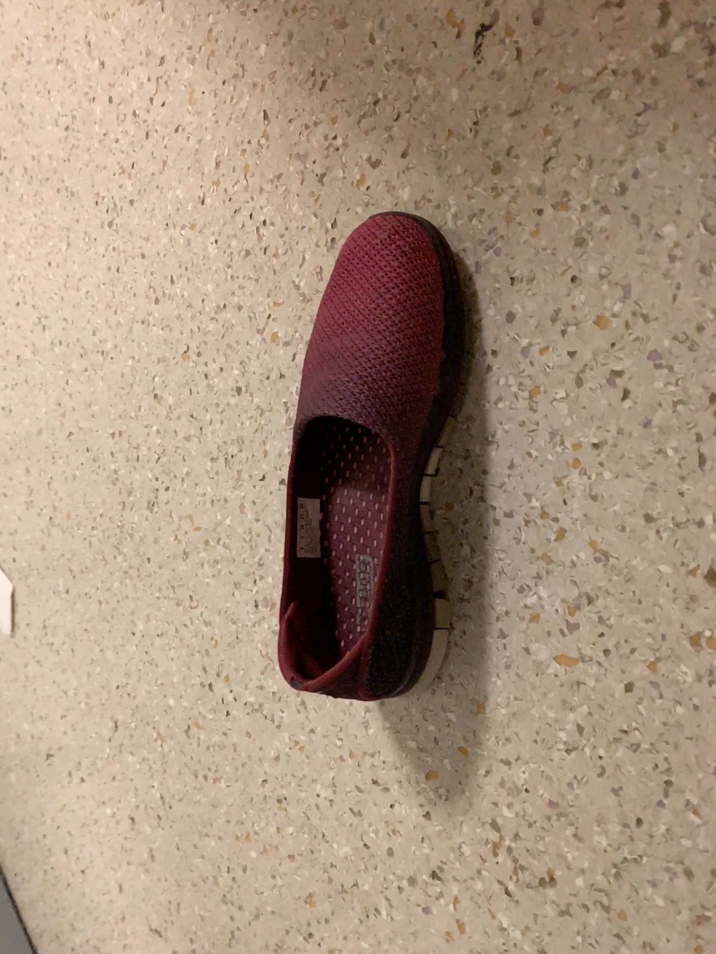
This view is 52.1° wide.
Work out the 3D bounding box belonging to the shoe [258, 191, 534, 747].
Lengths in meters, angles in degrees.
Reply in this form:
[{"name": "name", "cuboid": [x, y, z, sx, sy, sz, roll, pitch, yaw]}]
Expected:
[{"name": "shoe", "cuboid": [0.017, -0.006, 0.364, 0.092, 0.091, 0.229, 7, 97, 42]}]
